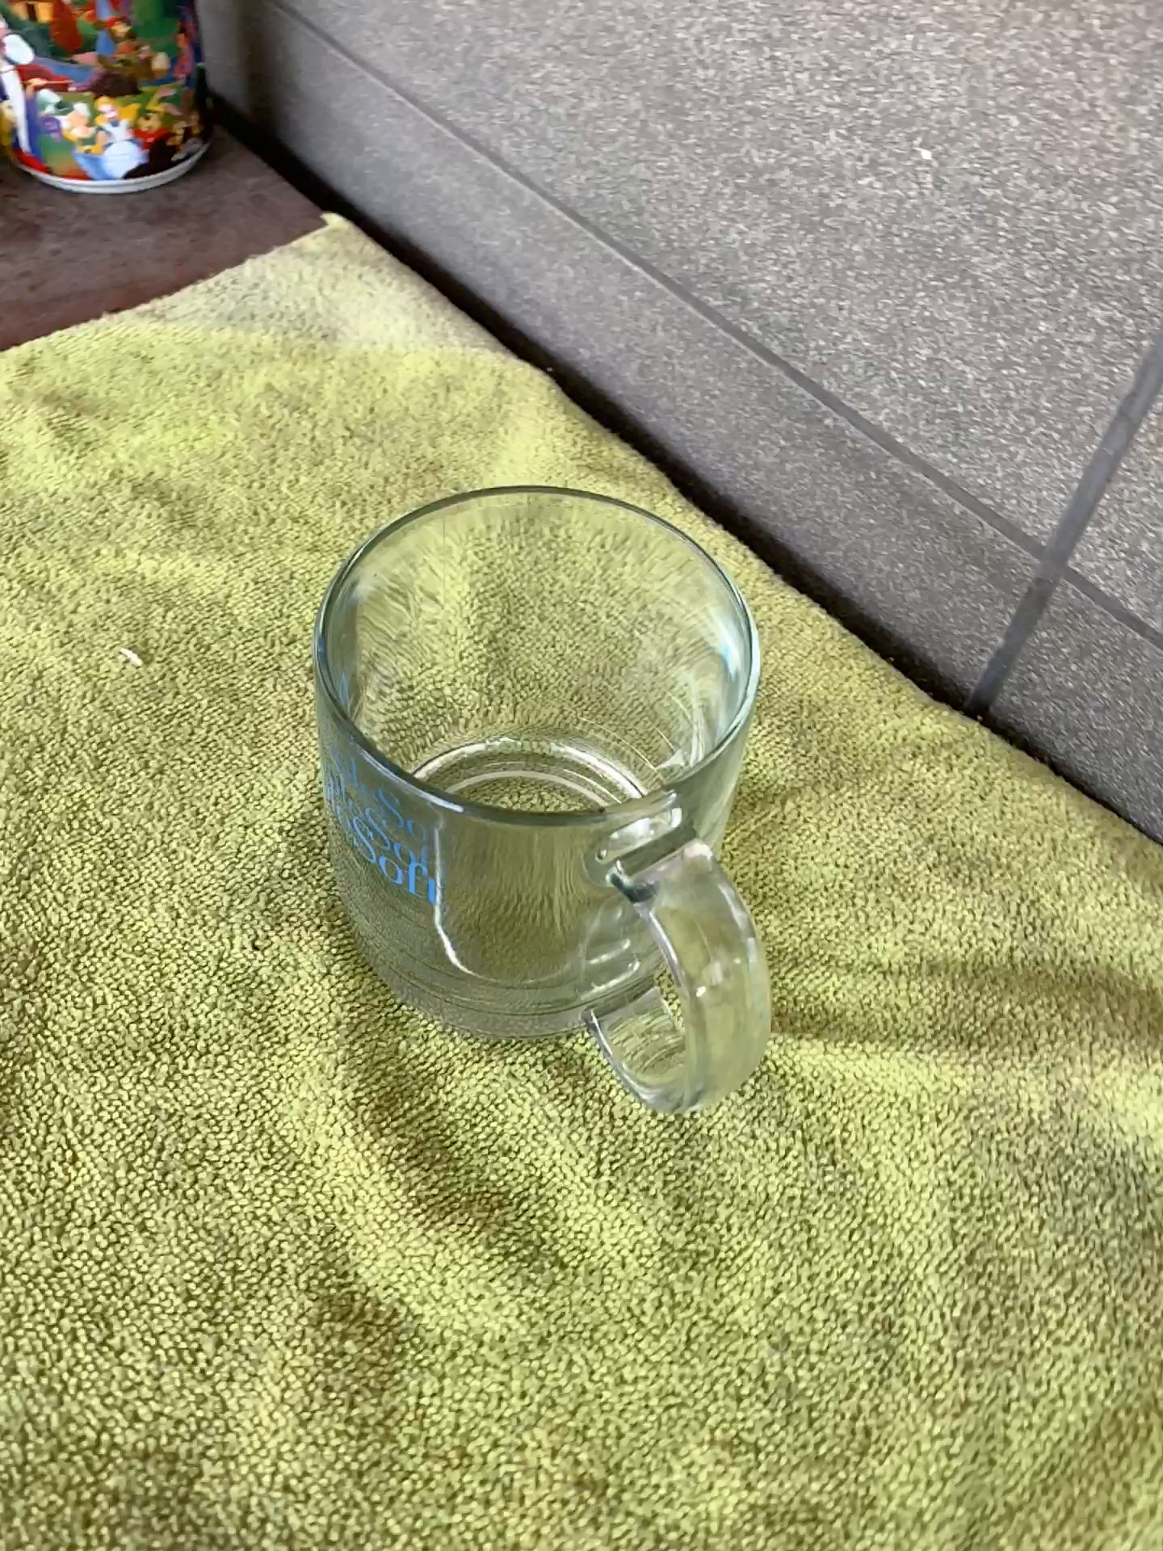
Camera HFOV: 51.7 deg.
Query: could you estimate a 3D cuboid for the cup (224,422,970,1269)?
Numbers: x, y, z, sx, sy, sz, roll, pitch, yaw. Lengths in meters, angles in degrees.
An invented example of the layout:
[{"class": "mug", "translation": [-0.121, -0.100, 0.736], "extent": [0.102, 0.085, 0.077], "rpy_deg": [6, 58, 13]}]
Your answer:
[{"class": "cup", "translation": [-0.006, 0.013, 0.248], "extent": [0.080, 0.100, 0.120], "rpy_deg": [-23, 58, -22]}]
